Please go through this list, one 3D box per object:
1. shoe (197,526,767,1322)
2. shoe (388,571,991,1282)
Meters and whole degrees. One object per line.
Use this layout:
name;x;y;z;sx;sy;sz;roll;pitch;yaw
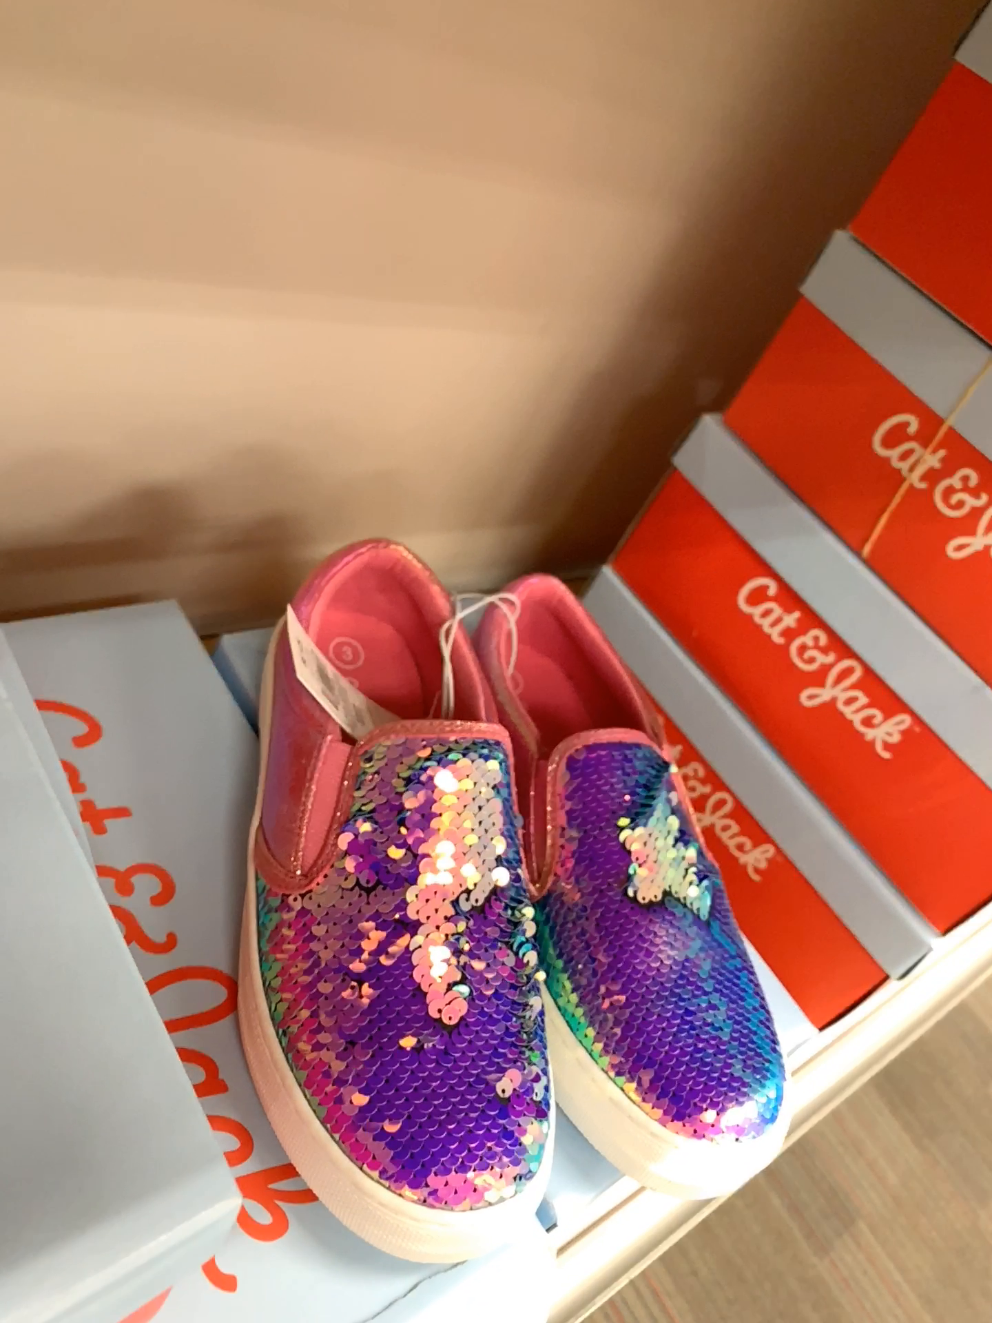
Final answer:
shoe;-0.022;0.063;0.313;0.100;0.074;0.211;4;47;-29
shoe;0.050;0.071;0.351;0.090;0.074;0.211;-2;50;-33
